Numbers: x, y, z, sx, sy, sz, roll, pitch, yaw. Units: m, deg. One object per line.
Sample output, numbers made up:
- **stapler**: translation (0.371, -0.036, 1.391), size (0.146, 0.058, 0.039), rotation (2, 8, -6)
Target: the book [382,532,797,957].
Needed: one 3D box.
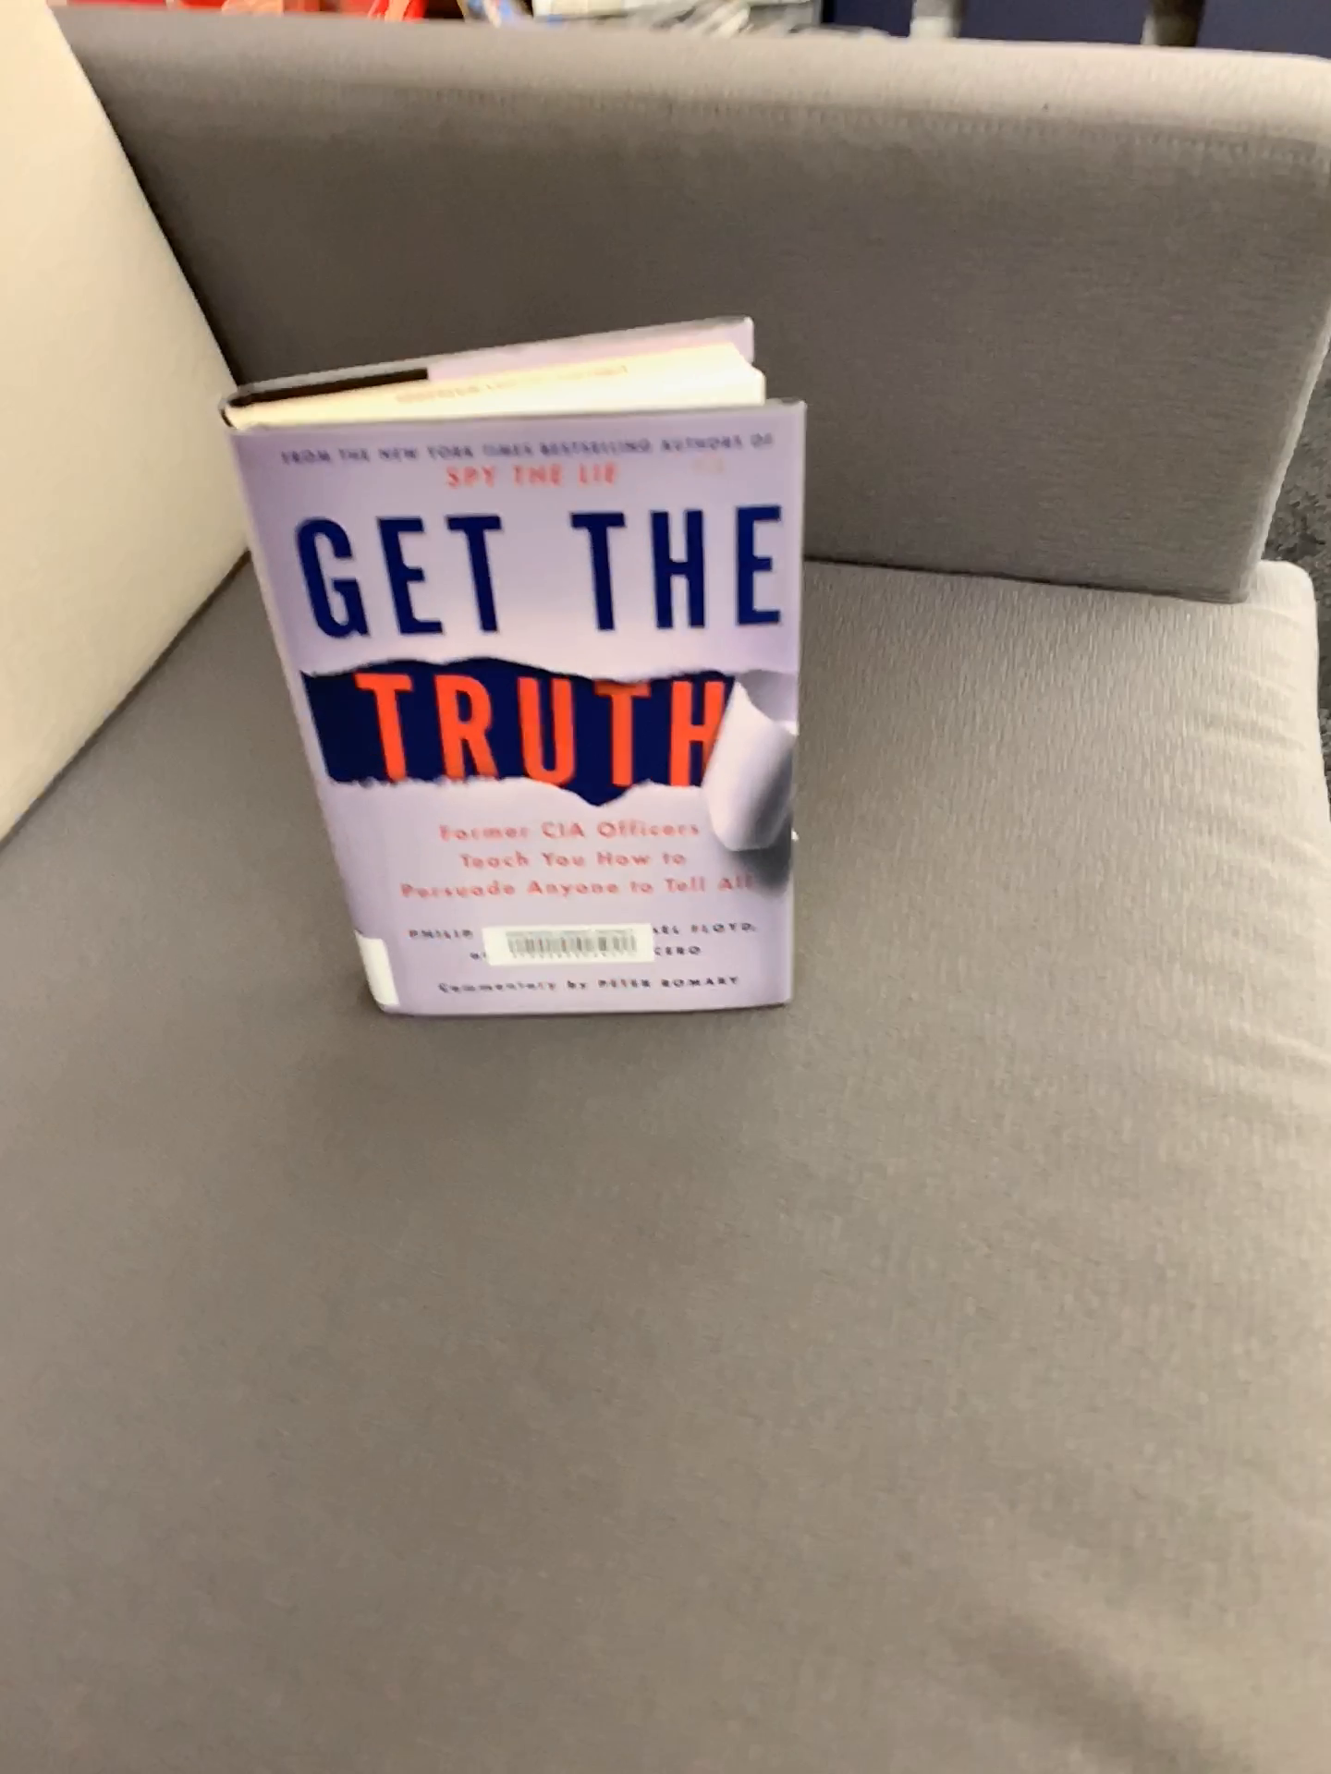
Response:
- **book**: translation (-0.040, -0.070, 0.575), size (0.140, 0.030, 0.201), rotation (-10, 50, -7)

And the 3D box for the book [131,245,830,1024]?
- **book**: translation (-0.039, -0.063, 0.410), size (0.160, 0.219, 0.070), rotation (-3, 42, 0)
